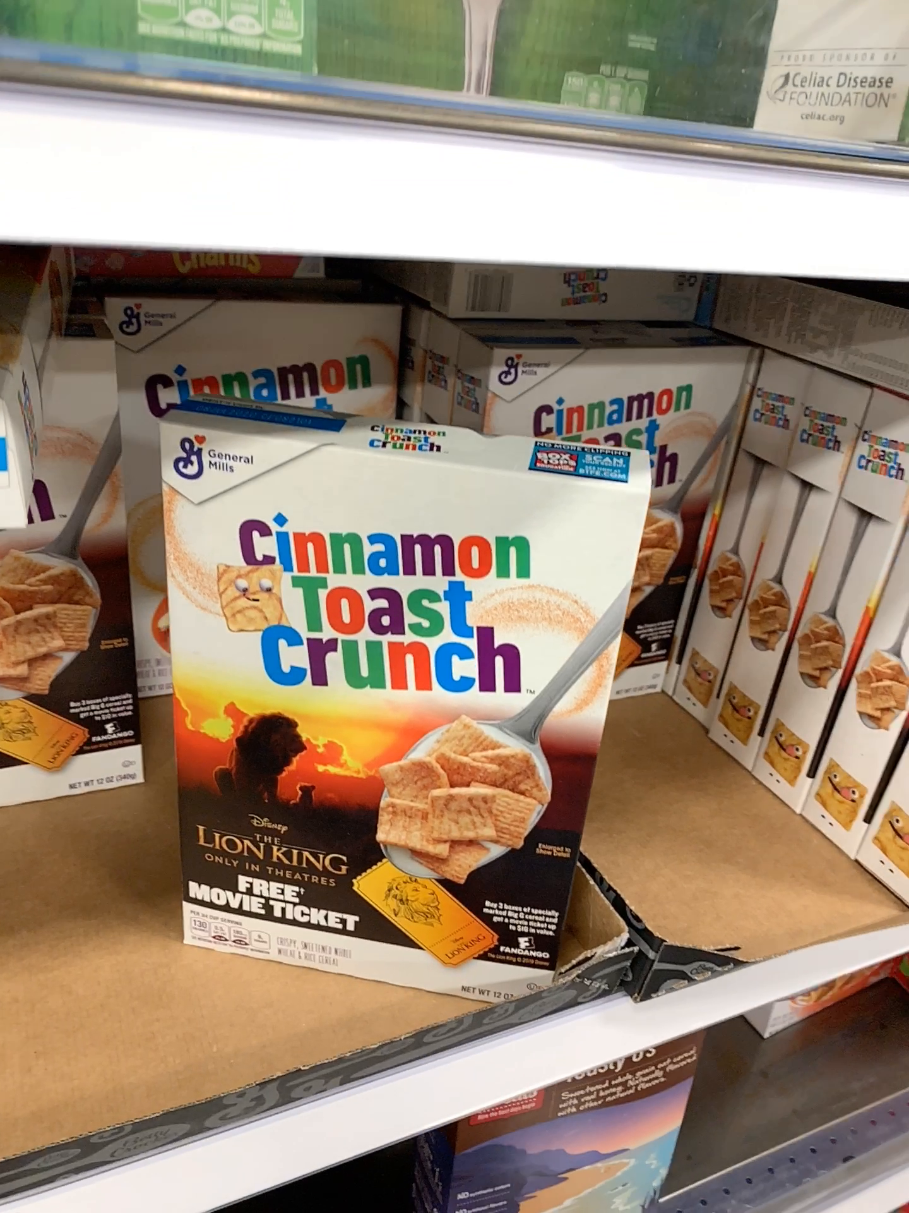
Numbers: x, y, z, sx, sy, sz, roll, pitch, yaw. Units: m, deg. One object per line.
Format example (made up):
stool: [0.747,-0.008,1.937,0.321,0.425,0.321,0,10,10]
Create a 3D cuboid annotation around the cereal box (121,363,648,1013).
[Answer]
cereal box: [-0.035,0.048,0.423,0.190,0.279,0.060,8,28,5]
